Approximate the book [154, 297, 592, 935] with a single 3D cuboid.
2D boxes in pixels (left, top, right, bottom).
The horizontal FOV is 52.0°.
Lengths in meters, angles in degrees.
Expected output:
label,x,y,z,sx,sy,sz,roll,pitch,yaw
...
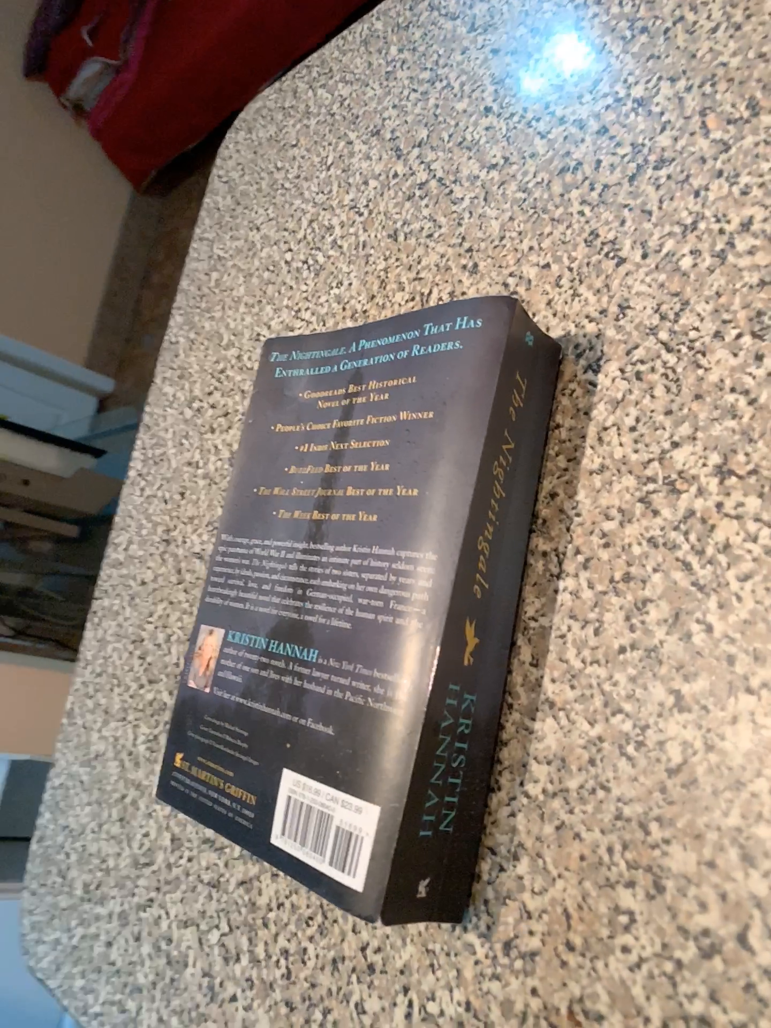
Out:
label,x,y,z,sx,sy,sz,roll,pitch,yaw
book,-0.010,0.031,0.322,0.139,0.056,0.207,3,76,49
